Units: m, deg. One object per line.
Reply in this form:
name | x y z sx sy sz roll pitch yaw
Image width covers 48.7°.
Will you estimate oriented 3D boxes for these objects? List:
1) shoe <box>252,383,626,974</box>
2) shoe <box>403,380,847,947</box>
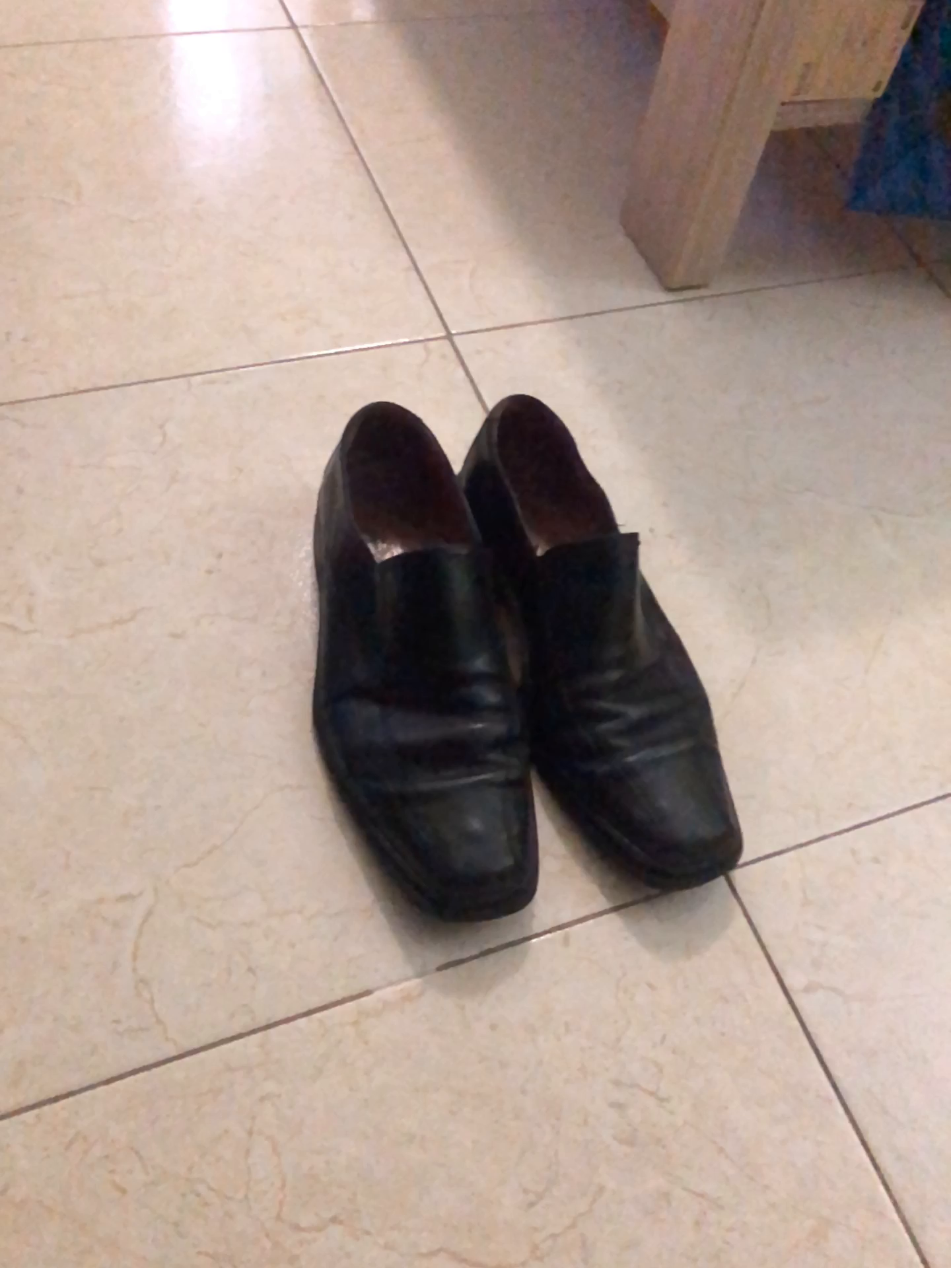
shoe | -0.036 0.008 0.580 0.120 0.090 0.311 -9 57 -14
shoe | 0.066 0.001 0.607 0.120 0.090 0.311 -13 58 -17
